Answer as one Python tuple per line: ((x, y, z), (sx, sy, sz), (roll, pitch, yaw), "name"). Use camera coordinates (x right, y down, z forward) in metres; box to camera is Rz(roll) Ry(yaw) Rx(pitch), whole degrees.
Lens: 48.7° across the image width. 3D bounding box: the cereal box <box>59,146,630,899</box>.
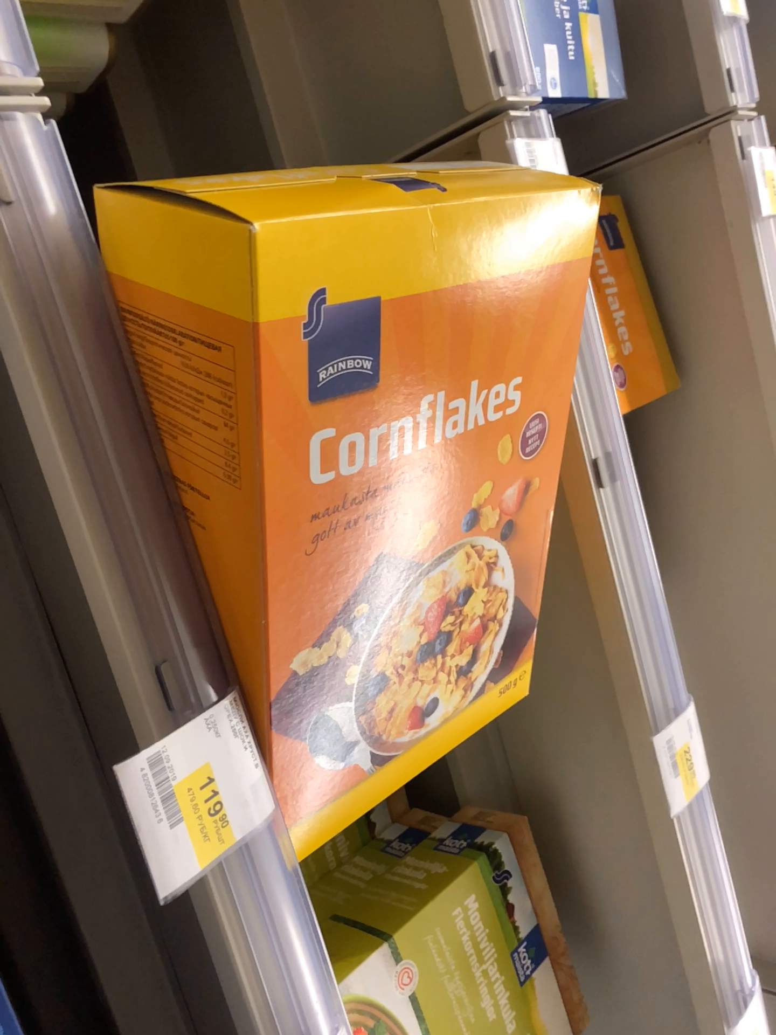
((-0.014, -0.013, 0.410), (0.120, 0.201, 0.289), (26, -55, 37), "cereal box")
